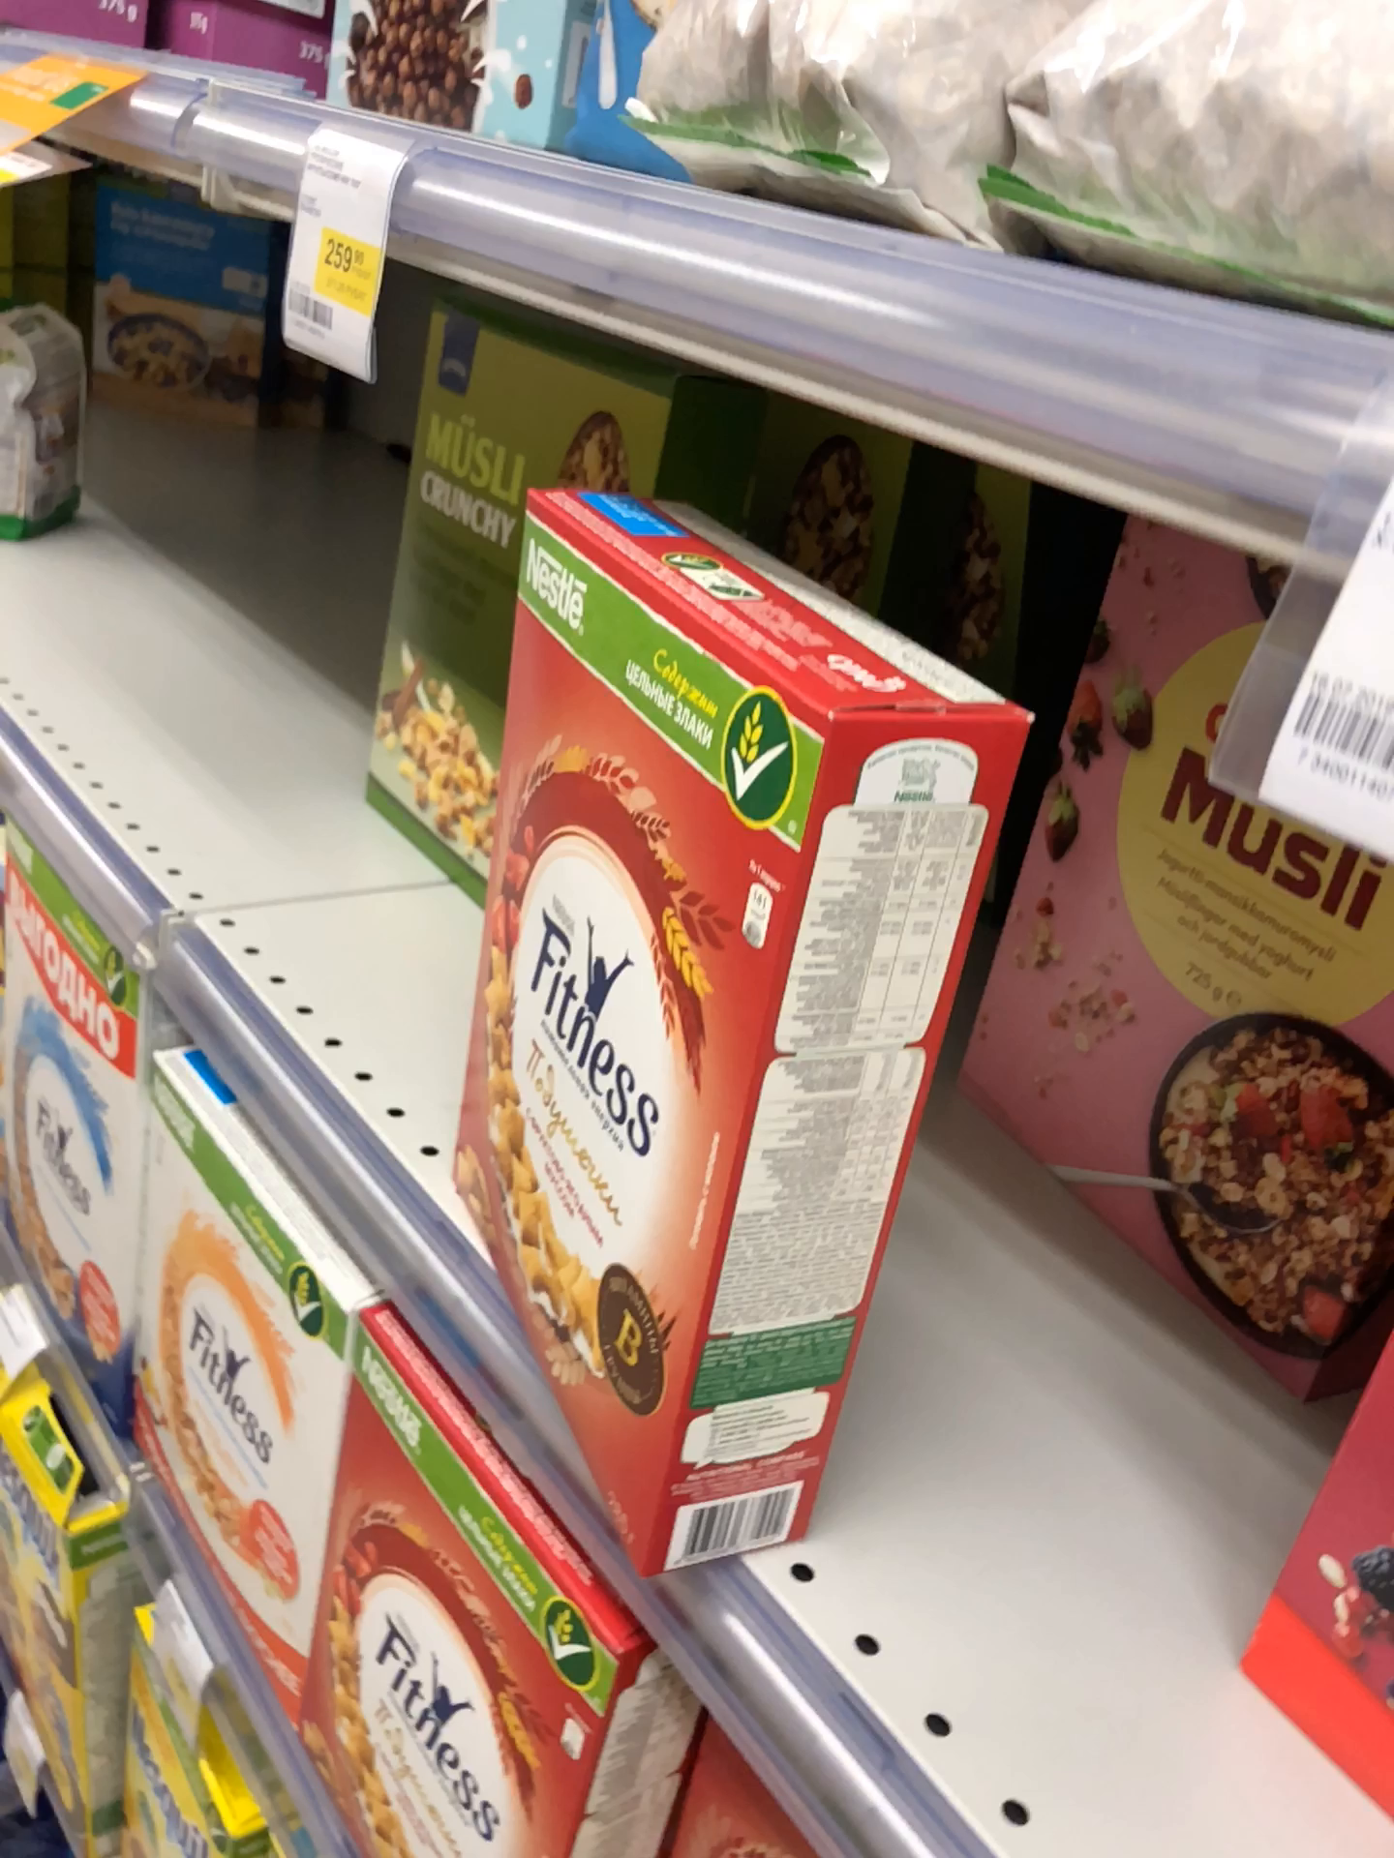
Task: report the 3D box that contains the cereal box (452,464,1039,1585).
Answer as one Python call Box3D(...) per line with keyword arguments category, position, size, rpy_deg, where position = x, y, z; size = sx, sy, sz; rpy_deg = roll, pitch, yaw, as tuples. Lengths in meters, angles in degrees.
Box3D(category="cereal box", position=(-0.008, 0.017, 0.422), size=(0.050, 0.239, 0.181), rpy_deg=(-3, 29, -25))
